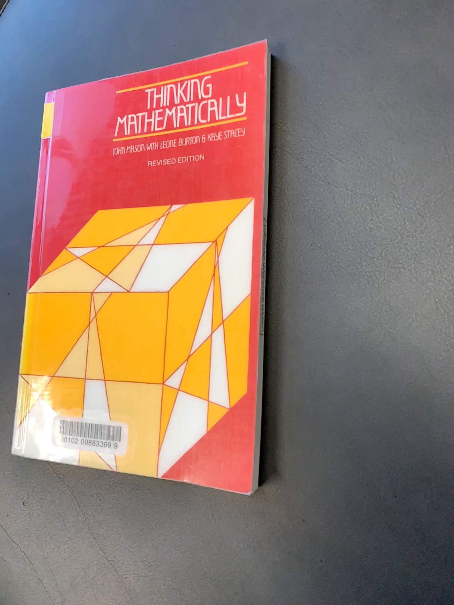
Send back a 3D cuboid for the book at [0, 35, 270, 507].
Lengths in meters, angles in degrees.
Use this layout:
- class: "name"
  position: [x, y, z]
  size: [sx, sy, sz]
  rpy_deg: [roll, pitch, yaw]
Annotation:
- class: "book"
  position: [-0.056, -0.020, 0.263]
  size: [0.157, 0.016, 0.232]
  rpy_deg: [-1, 83, 23]
